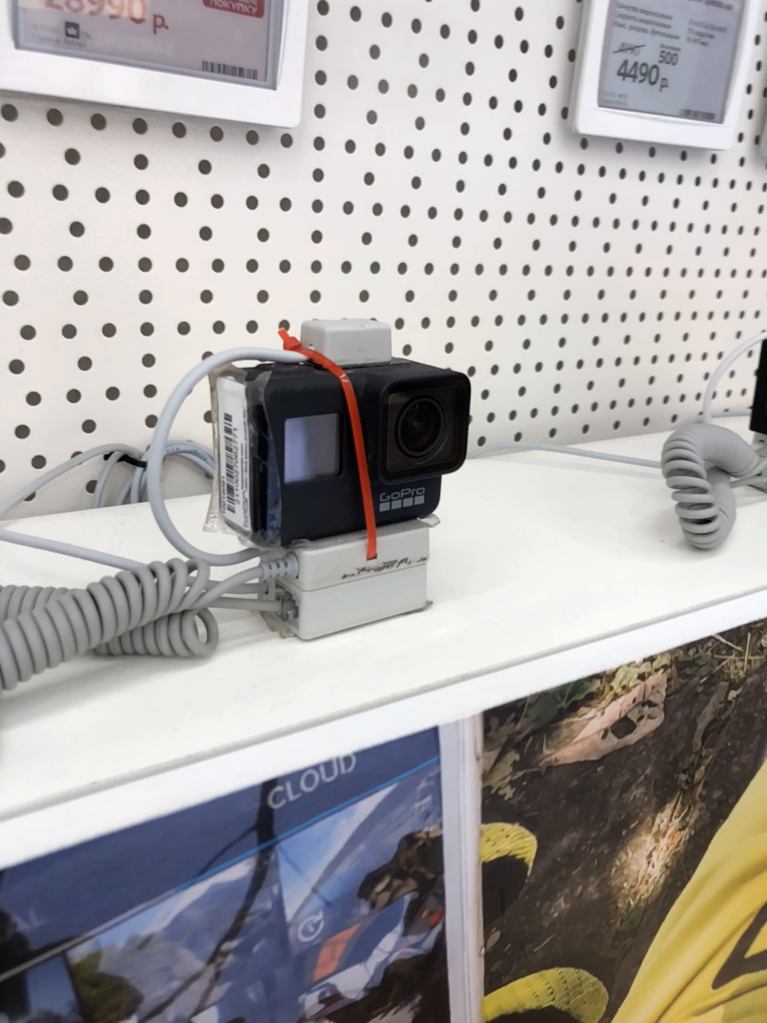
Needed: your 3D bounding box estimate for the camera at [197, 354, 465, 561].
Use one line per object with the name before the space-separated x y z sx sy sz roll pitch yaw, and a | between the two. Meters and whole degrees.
camera | -0.014 -0.018 0.232 0.064 0.043 0.032 -11 23 -36
